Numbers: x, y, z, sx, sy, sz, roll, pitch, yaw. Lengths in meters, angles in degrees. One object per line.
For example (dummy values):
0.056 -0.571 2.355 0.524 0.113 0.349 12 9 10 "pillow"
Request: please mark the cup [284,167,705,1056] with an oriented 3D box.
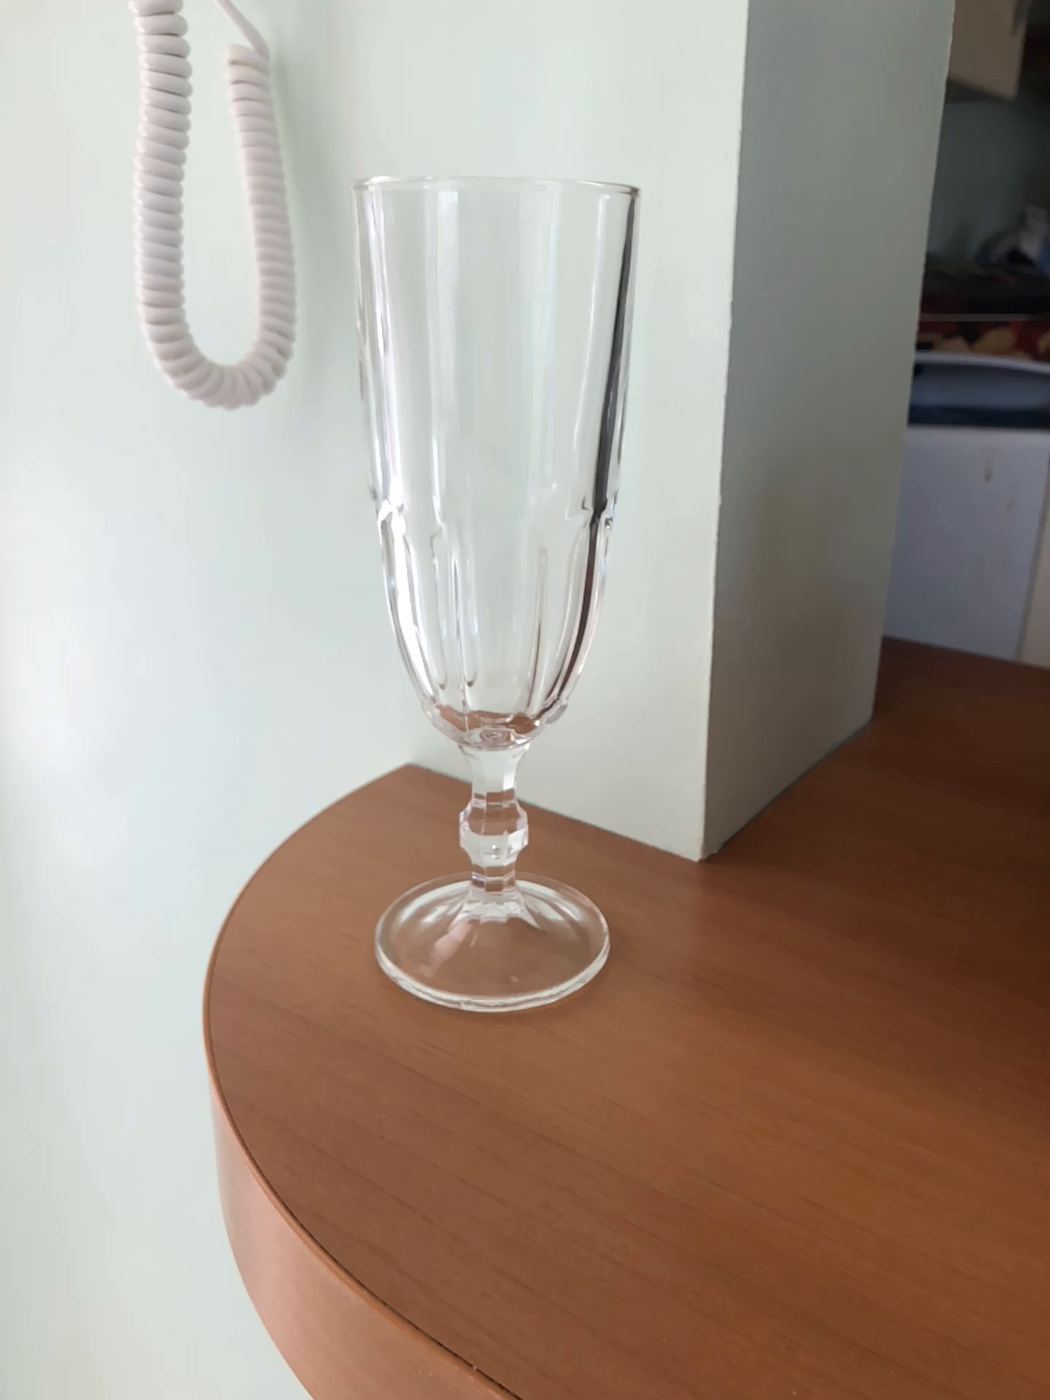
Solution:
-0.010 -0.021 0.257 0.060 0.169 0.070 -8 22 -22 "cup"
